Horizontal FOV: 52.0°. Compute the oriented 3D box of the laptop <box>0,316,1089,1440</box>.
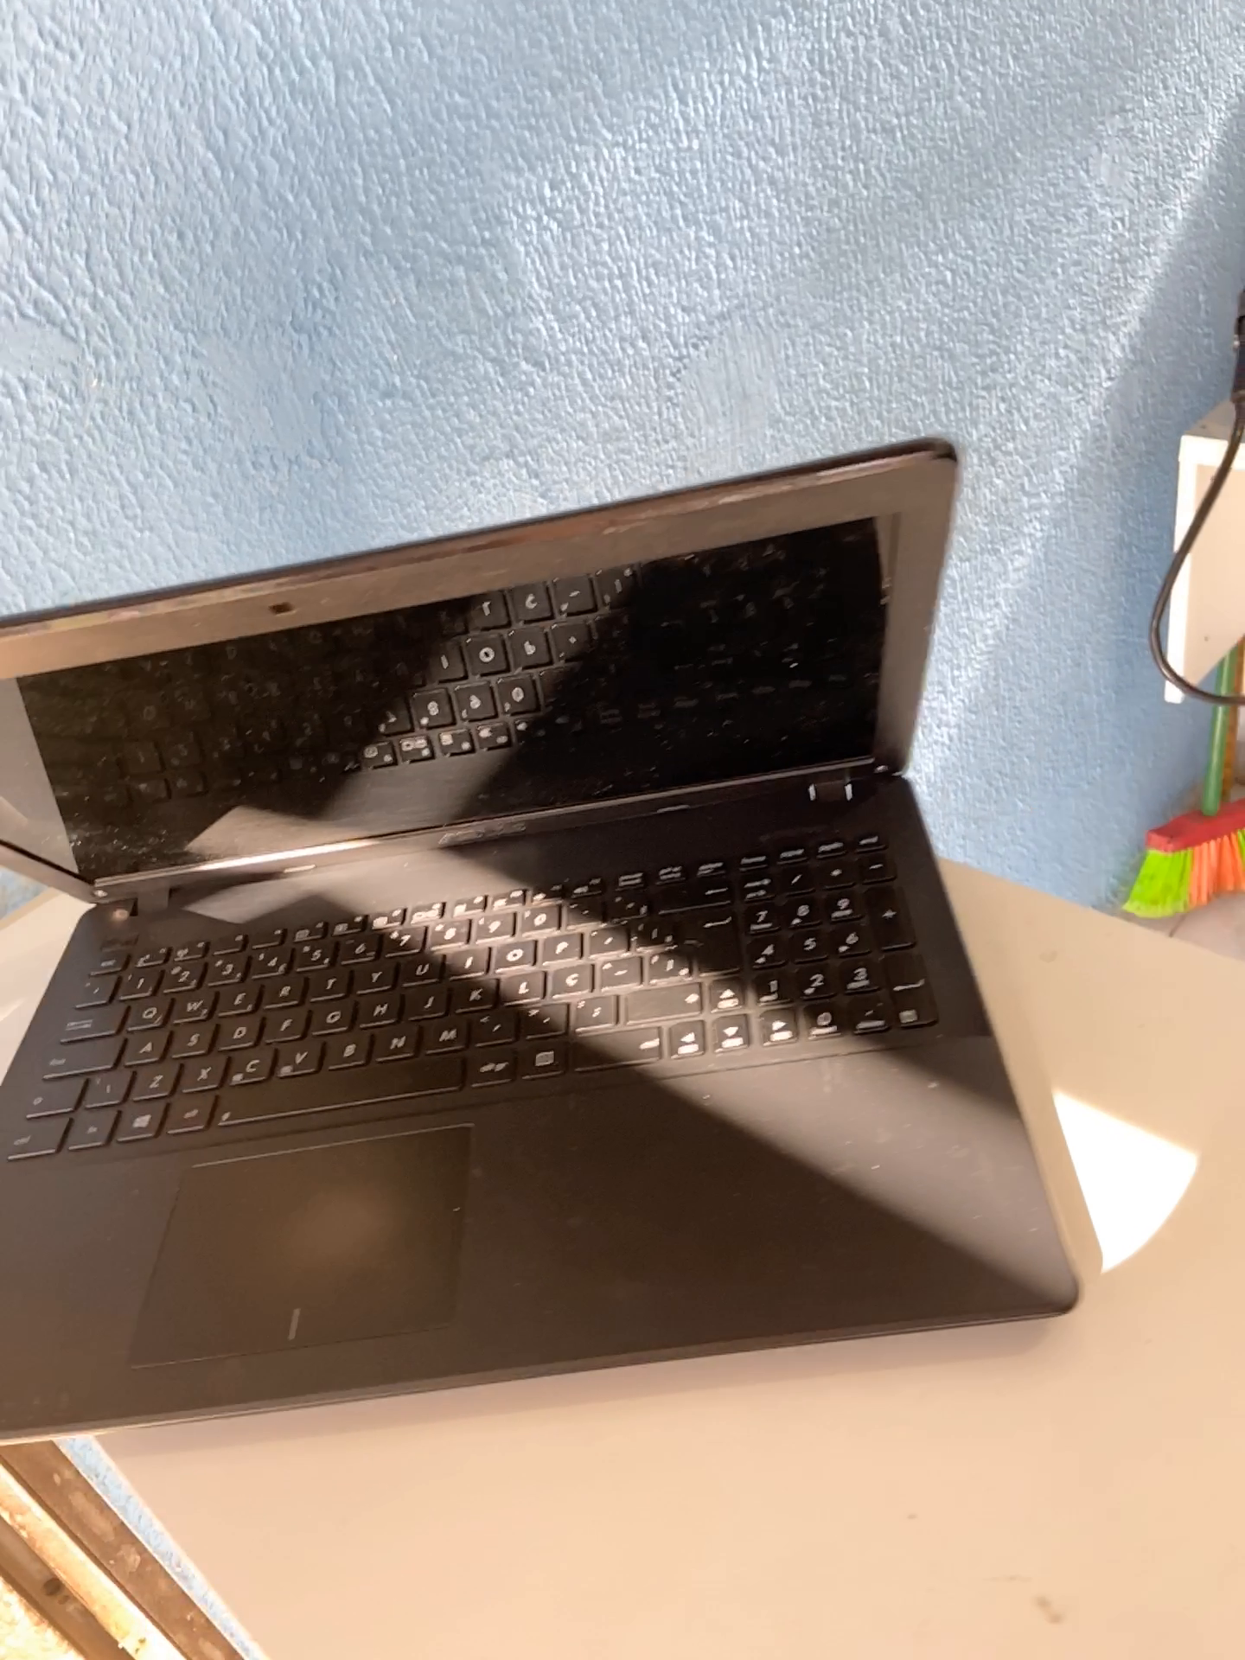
[{"bbox_3d":[-0.076,0.008,0.413,0.373,0.190,0.240,-10,37,7],"label":"laptop"}]
